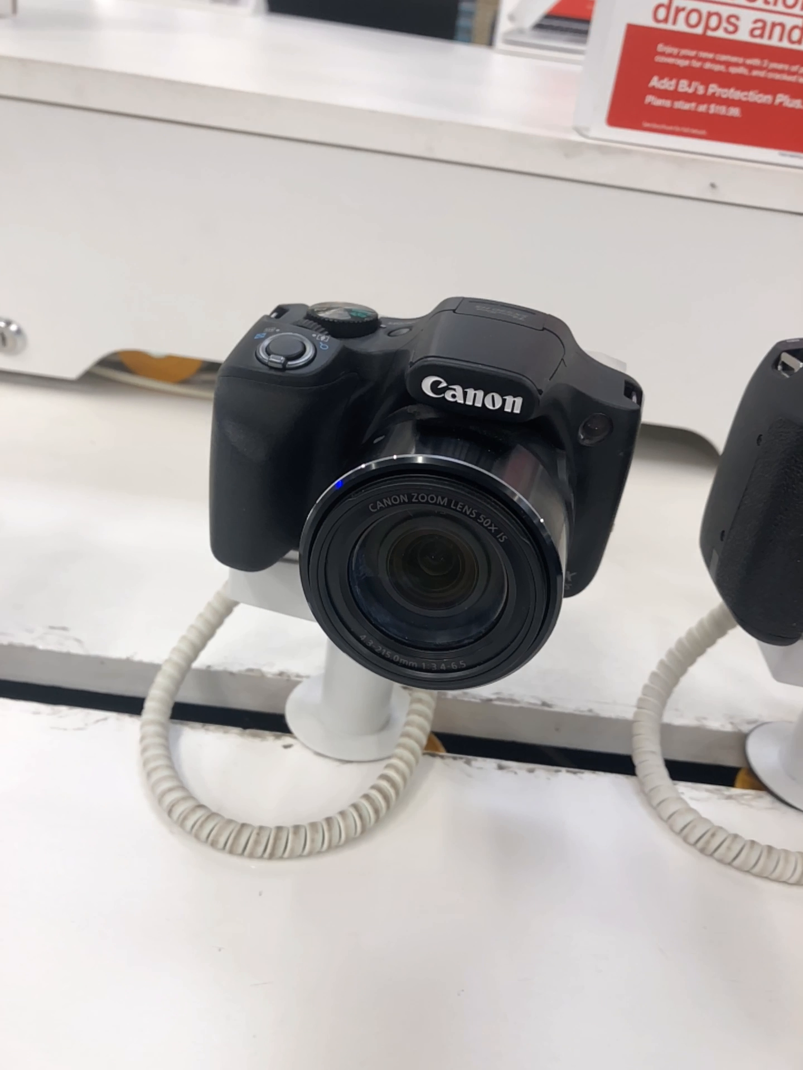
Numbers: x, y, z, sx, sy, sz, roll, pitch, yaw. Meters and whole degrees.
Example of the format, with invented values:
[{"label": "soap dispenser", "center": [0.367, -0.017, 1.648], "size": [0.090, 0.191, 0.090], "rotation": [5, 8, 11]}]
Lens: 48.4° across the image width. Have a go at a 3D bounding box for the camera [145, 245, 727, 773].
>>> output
[{"label": "camera", "center": [0.007, -0.012, 0.237], "size": [0.120, 0.089, 0.081], "rotation": [12, 30, 6]}]
